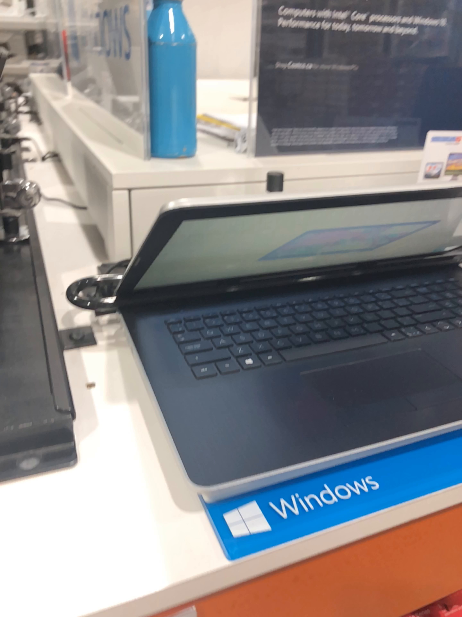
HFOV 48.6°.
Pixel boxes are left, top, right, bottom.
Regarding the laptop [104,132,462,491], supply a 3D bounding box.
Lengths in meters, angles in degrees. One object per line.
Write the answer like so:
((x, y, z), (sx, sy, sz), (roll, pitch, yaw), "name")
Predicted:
((0.126, -0.047, 0.423), (0.405, 0.150, 0.259), (-8, 27, -19), "laptop")

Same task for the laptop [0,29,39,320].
((-0.420, -0.179, 0.580), (0.330, 0.212, 0.341), (-9, 28, -22), "laptop")
